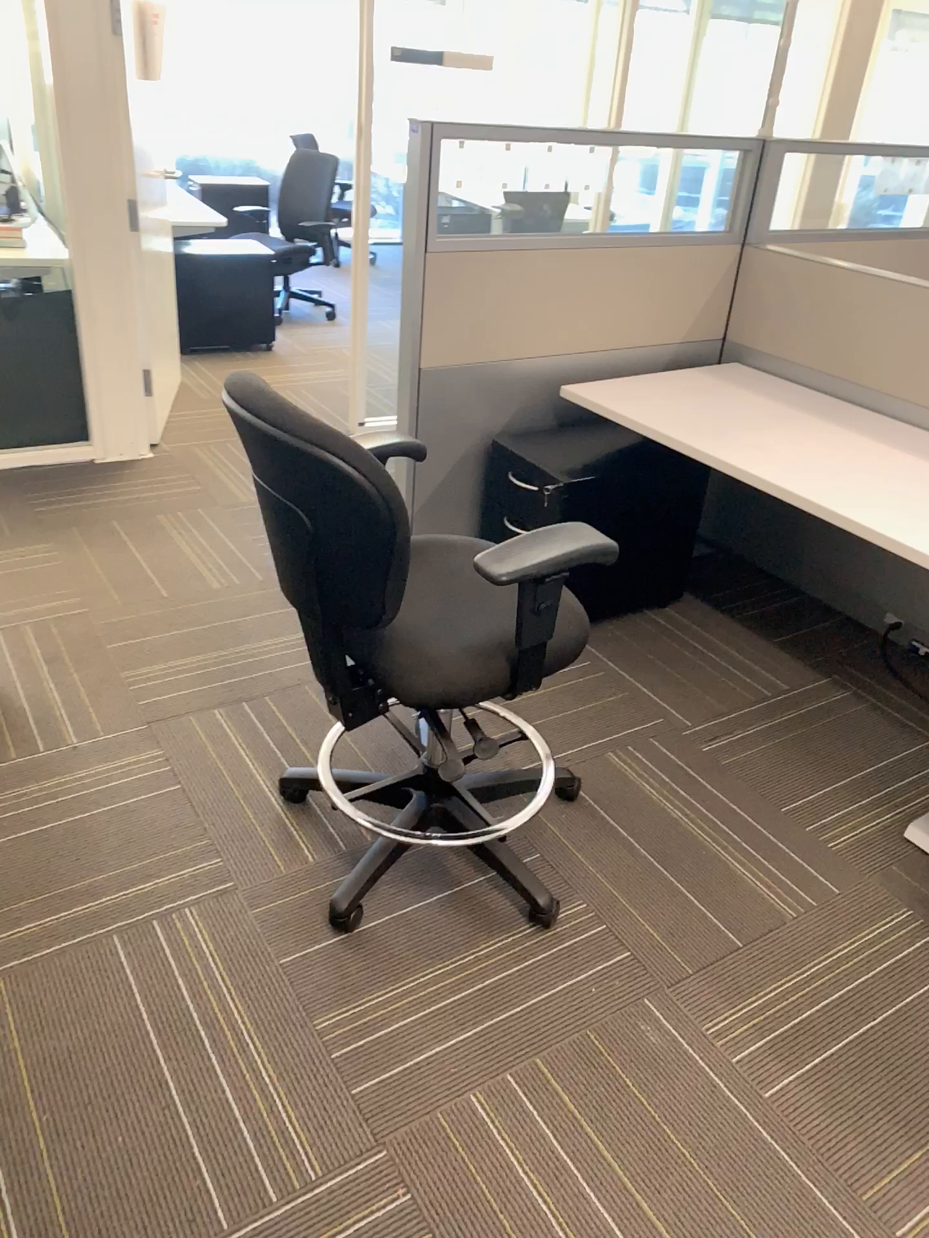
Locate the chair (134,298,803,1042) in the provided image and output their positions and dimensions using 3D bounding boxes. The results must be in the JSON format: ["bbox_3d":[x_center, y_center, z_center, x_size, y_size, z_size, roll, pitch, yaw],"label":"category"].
[{"bbox_3d":[-0.056,0.001,1.843,0.821,1.004,0.804,-15,35,-32],"label":"chair"}]
